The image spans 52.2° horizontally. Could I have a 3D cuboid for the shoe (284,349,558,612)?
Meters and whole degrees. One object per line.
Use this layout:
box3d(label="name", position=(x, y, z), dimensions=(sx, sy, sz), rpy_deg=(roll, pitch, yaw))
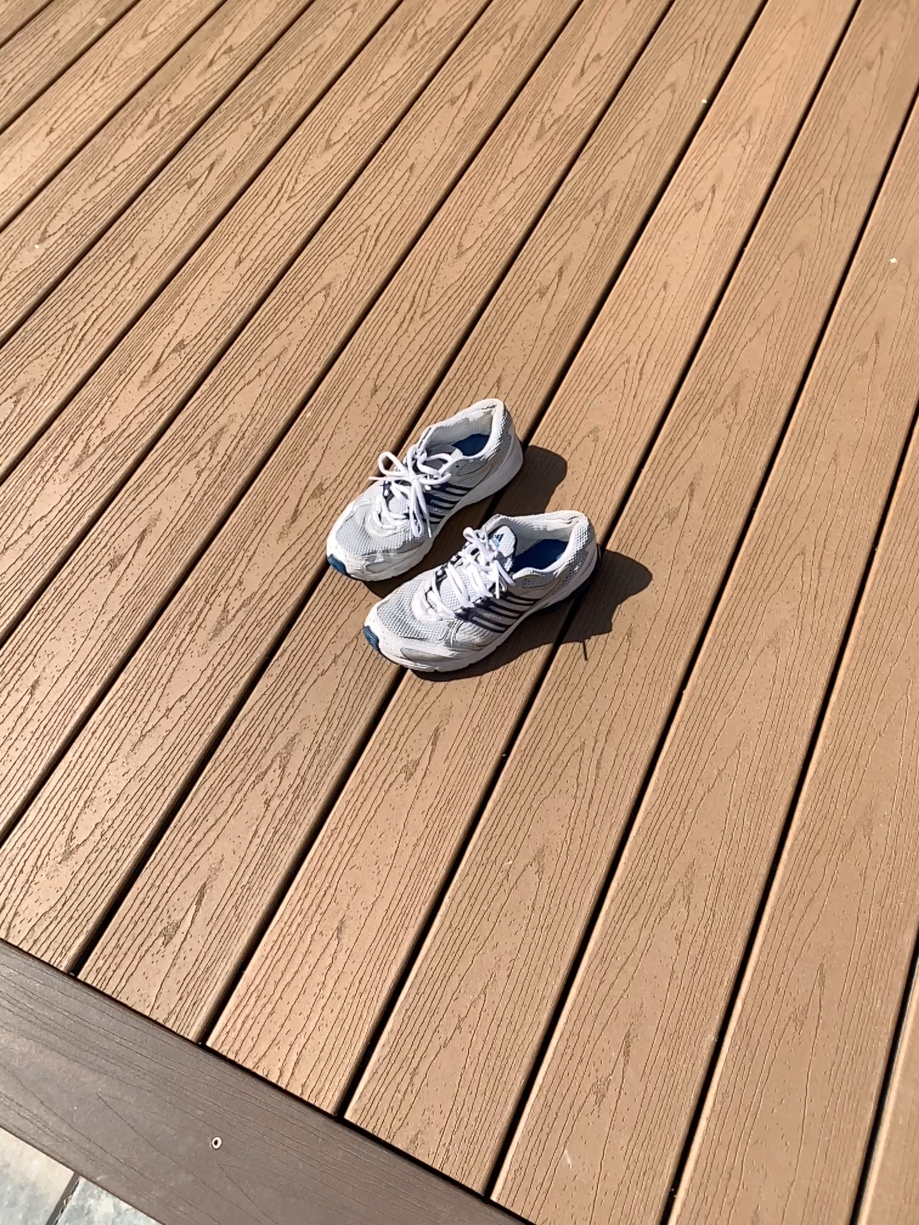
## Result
box3d(label="shoe", position=(-0.038, -0.155, 1.078), dimensions=(0.300, 0.100, 0.120), rpy_deg=(-40, 68, -17))

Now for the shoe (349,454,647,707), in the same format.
box3d(label="shoe", position=(0.042, -0.036, 1.014), dimensions=(0.290, 0.100, 0.120), rpy_deg=(-29, 65, -13))
